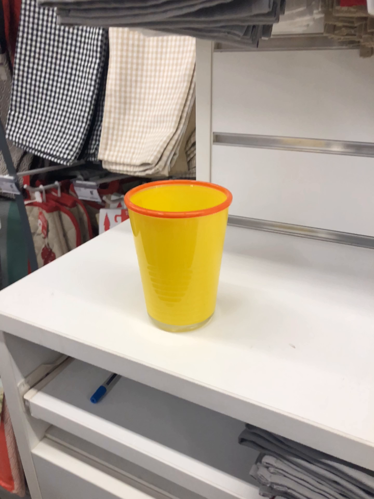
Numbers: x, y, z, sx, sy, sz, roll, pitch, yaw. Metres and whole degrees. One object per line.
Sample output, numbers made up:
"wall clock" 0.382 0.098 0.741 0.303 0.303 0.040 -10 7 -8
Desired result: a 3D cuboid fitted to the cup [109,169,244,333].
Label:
"cup" -0.002 -0.004 0.322 0.084 0.094 0.089 -1 24 0
